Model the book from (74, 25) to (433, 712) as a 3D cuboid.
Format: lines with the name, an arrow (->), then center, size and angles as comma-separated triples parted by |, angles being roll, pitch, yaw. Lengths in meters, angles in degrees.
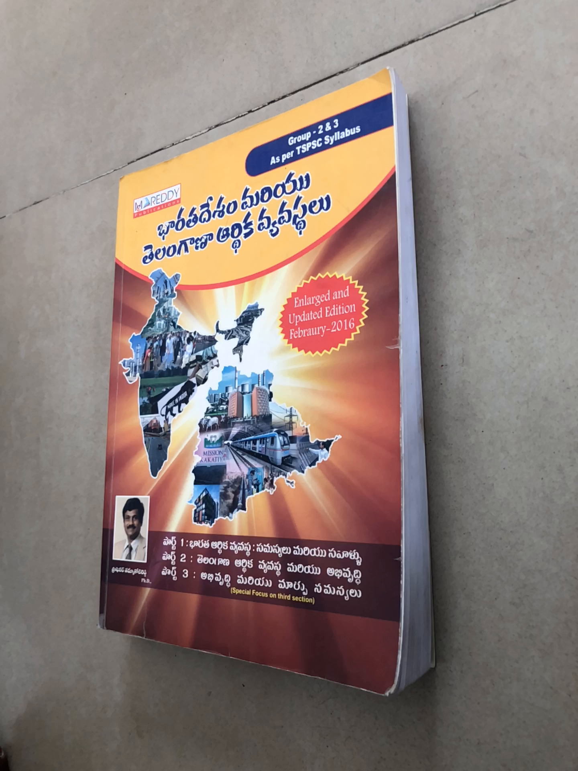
book -> -0.029, -0.008, 0.323 | 0.191, 0.030, 0.280 | -7, 78, 35
